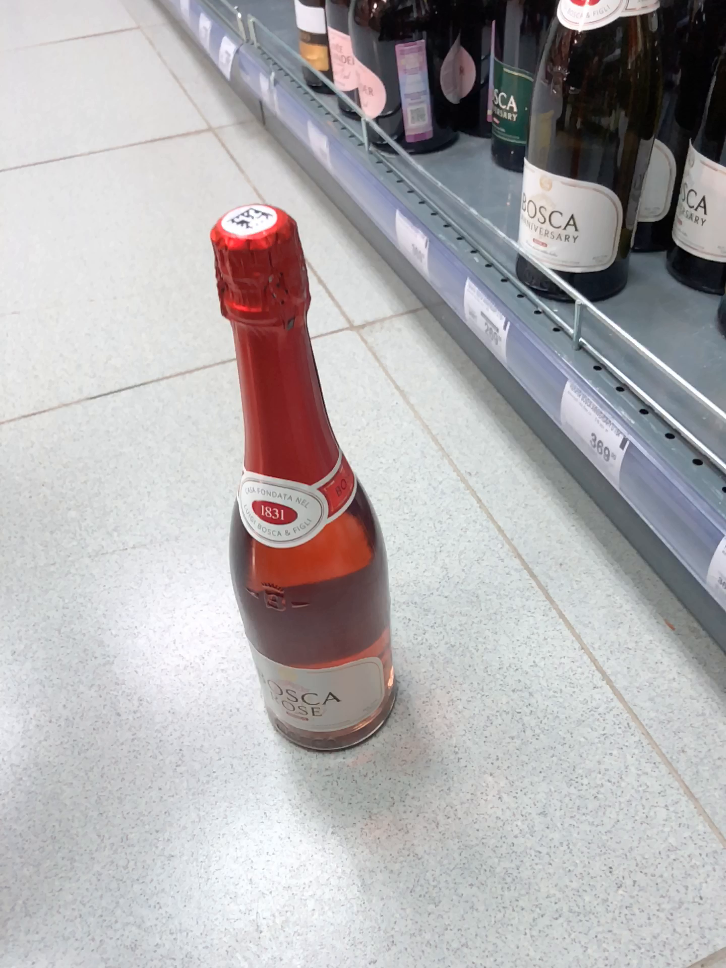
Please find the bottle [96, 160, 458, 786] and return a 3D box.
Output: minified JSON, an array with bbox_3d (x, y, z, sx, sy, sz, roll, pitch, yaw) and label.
[{"bbox_3d":[-0.019,0.017,0.412,0.100,0.317,0.100,-3,43,3],"label":"bottle"}]
